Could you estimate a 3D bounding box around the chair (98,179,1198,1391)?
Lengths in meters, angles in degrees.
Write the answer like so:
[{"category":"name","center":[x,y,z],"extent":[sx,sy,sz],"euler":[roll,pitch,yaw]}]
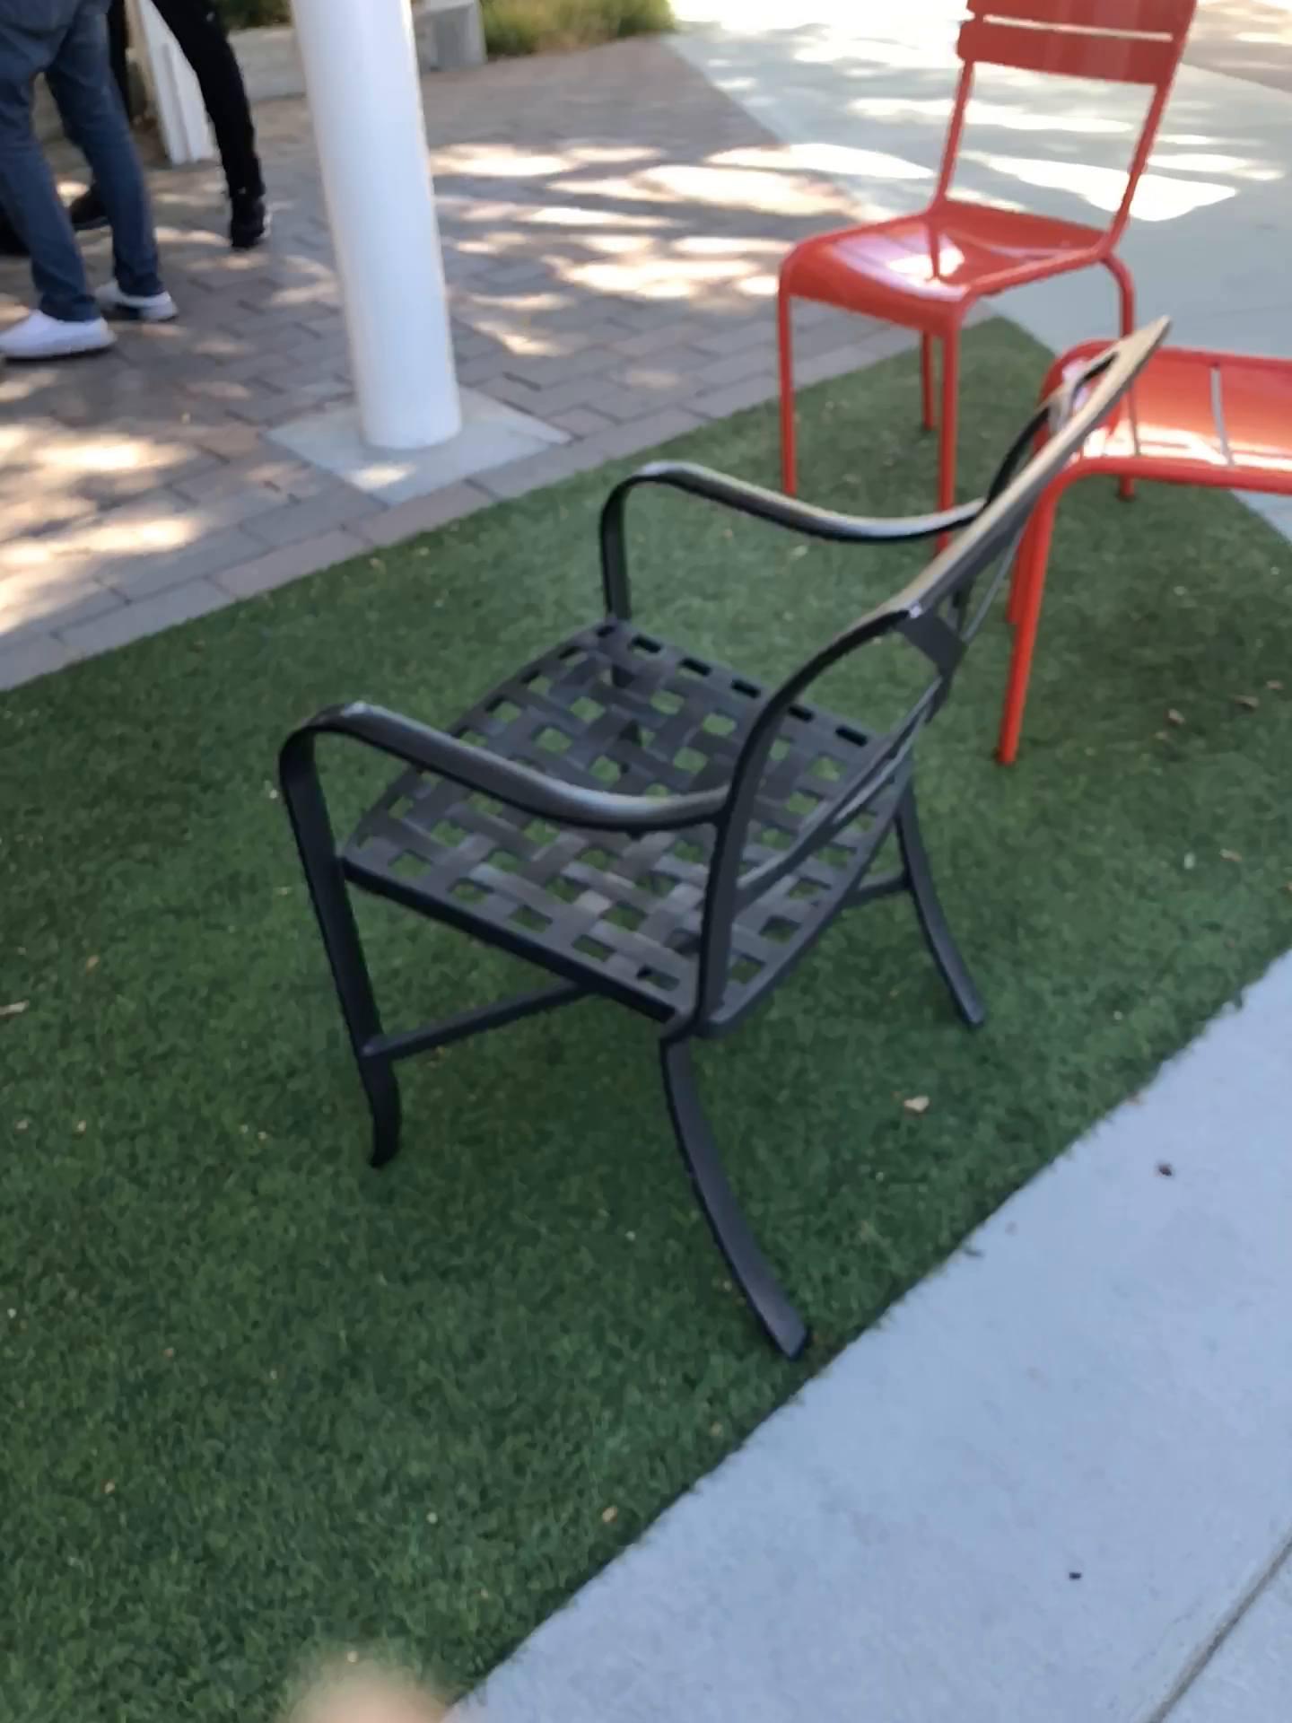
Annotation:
[{"category":"chair","center":[0.036,-0.112,1.392],"extent":[0.641,0.806,0.642],"euler":[19,42,22]}]
